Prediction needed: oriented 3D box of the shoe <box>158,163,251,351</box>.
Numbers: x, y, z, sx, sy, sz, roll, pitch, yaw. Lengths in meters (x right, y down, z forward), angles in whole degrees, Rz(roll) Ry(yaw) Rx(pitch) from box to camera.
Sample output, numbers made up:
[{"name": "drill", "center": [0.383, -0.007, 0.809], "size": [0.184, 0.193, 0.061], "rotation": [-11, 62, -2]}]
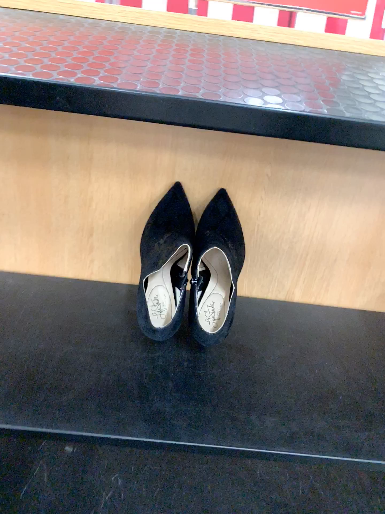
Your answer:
[{"name": "shoe", "center": [0.029, 0.003, 0.647], "size": [0.111, 0.281, 0.120], "rotation": [5, -13, 8]}]

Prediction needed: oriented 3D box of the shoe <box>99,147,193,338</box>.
[{"name": "shoe", "center": [-0.067, -0.013, 0.632], "size": [0.101, 0.271, 0.140], "rotation": [6, -13, -2]}]
